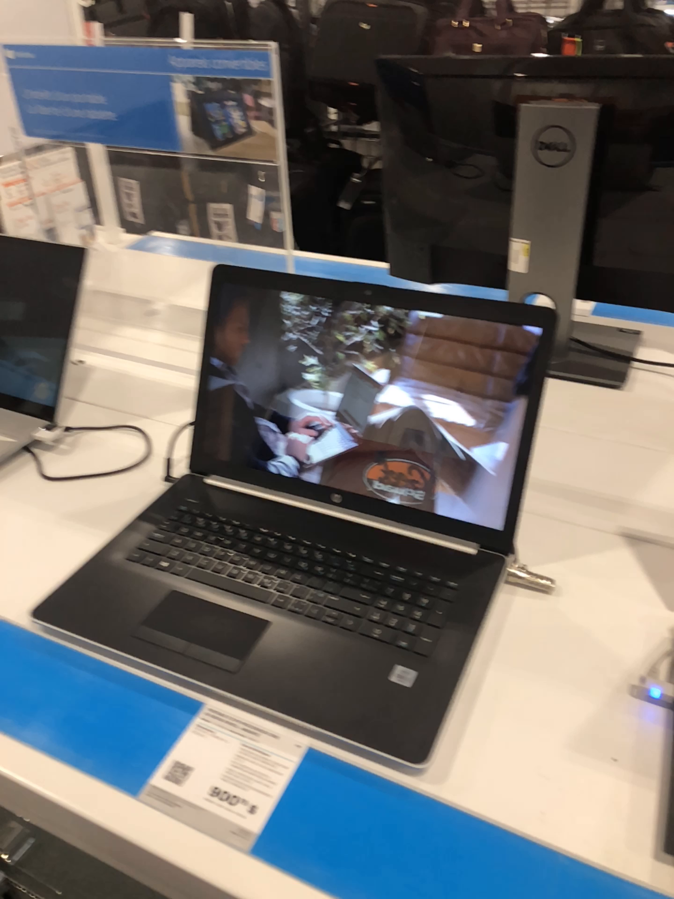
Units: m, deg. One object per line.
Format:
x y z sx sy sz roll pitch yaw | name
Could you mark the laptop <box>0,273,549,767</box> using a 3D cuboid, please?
-0.044 0.016 0.743 0.411 0.242 0.381 12 33 22 | laptop
